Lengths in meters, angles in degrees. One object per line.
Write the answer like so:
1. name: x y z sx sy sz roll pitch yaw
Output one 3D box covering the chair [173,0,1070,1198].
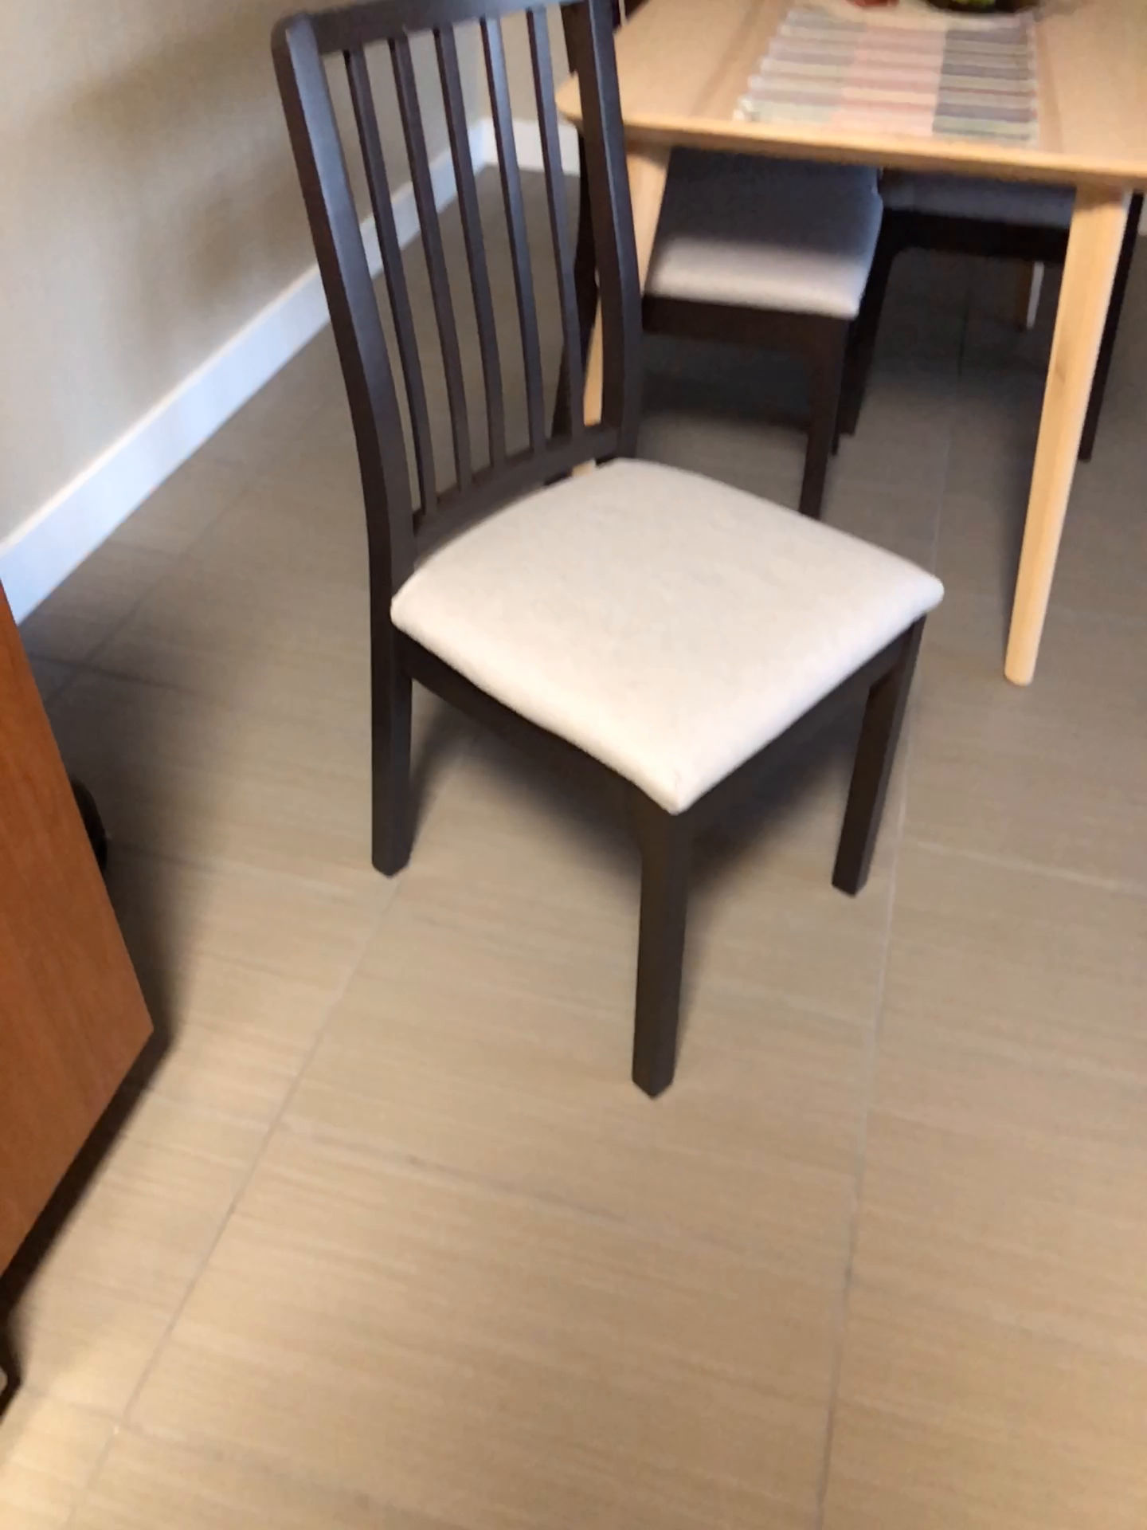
1. chair: 0.025 -0.152 1.359 0.481 1.124 0.511 -33 52 -32
